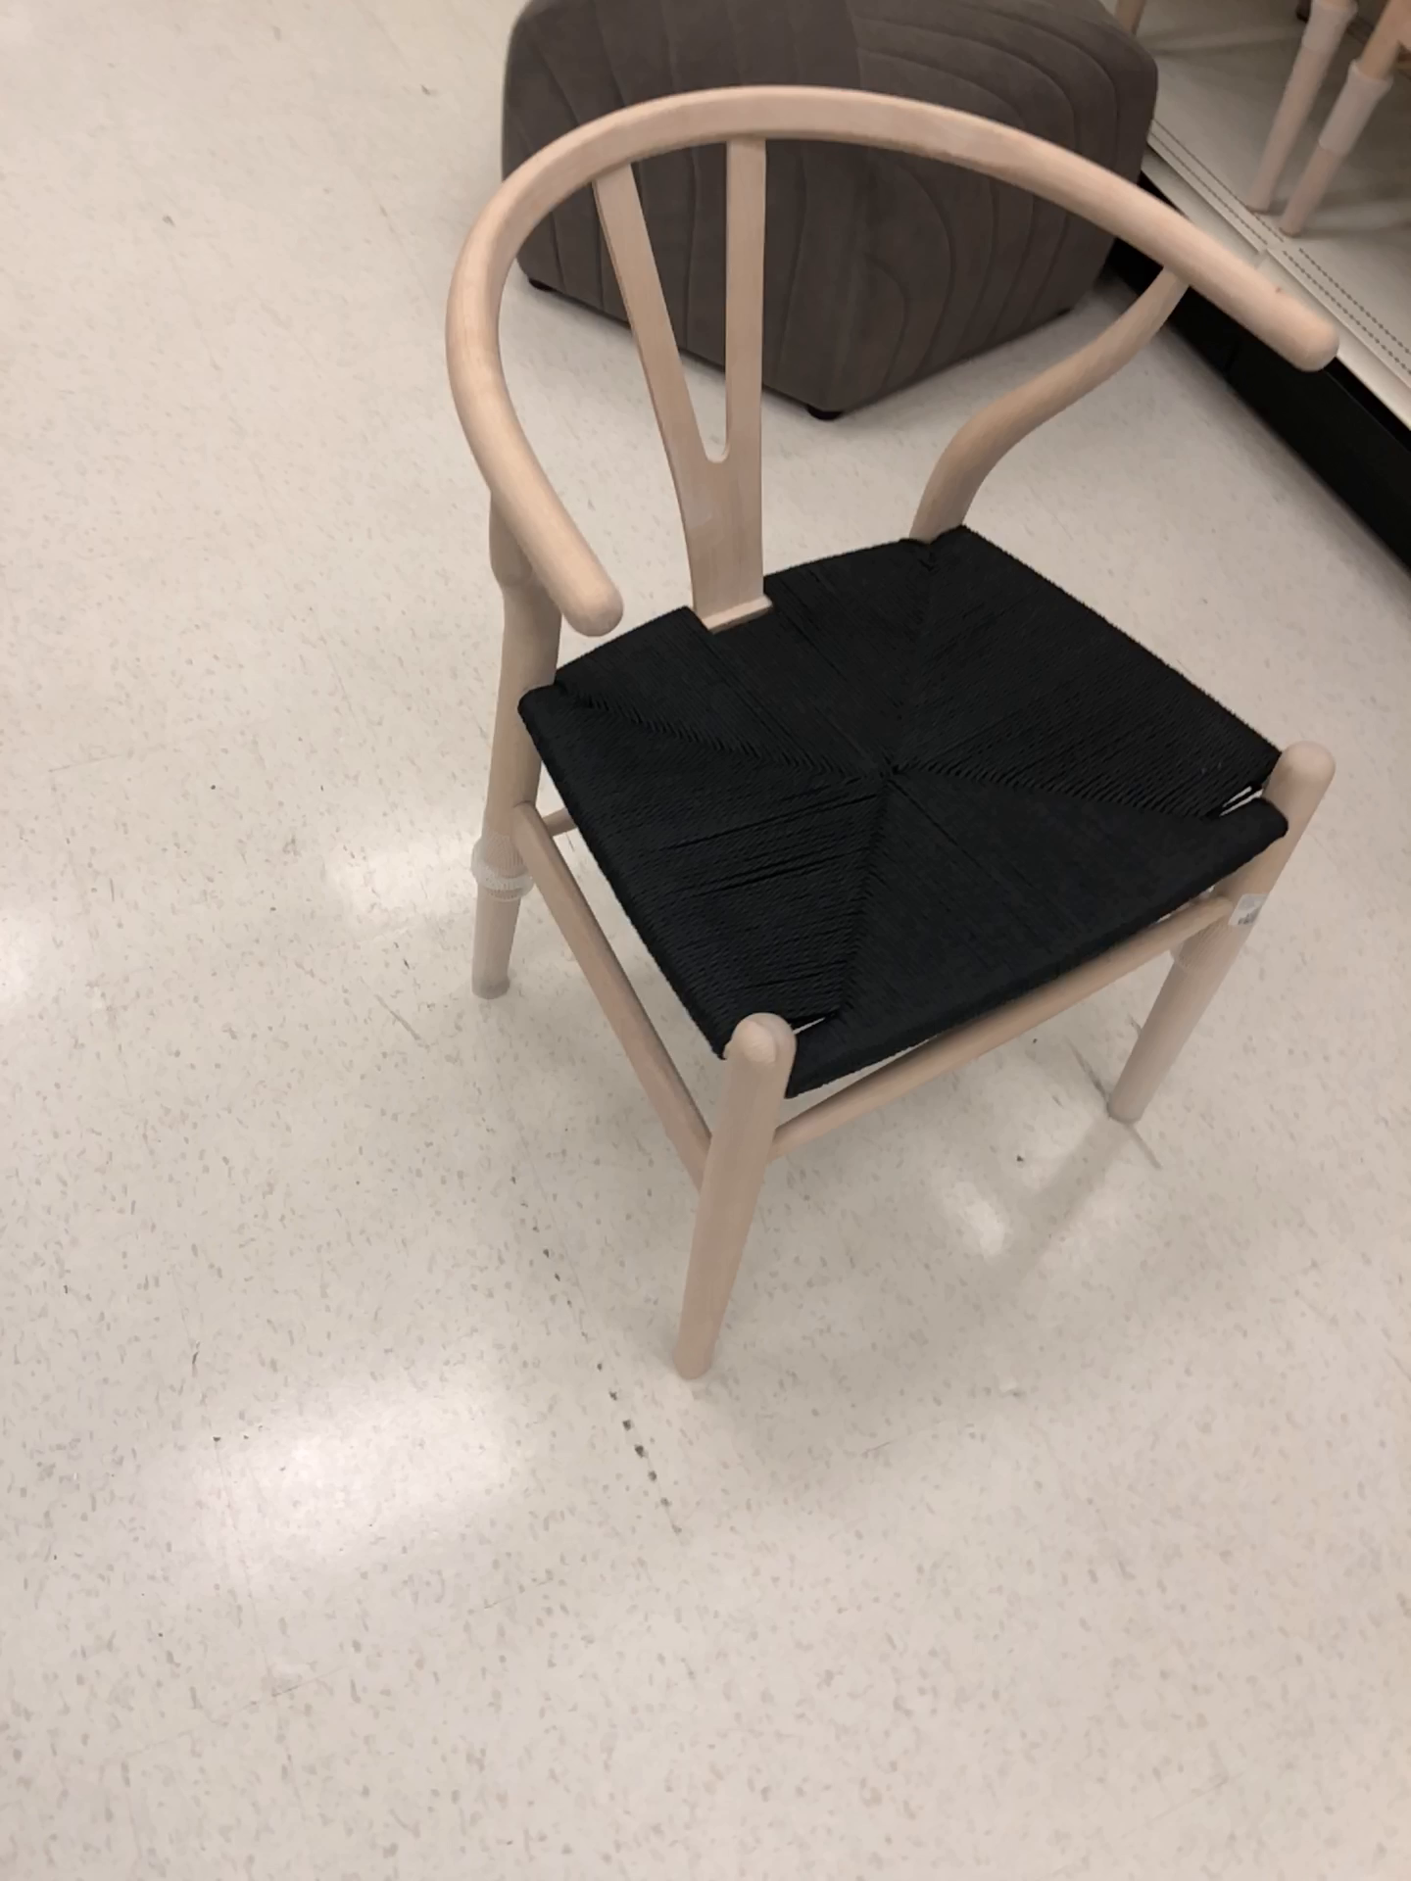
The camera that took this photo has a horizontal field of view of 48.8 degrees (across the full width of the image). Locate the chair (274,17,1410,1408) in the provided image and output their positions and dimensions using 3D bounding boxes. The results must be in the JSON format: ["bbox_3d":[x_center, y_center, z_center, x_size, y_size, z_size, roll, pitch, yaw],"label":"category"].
[{"bbox_3d":[0.097,-0.148,1.182,0.559,0.728,0.556,-25,60,-22],"label":"chair"}]
